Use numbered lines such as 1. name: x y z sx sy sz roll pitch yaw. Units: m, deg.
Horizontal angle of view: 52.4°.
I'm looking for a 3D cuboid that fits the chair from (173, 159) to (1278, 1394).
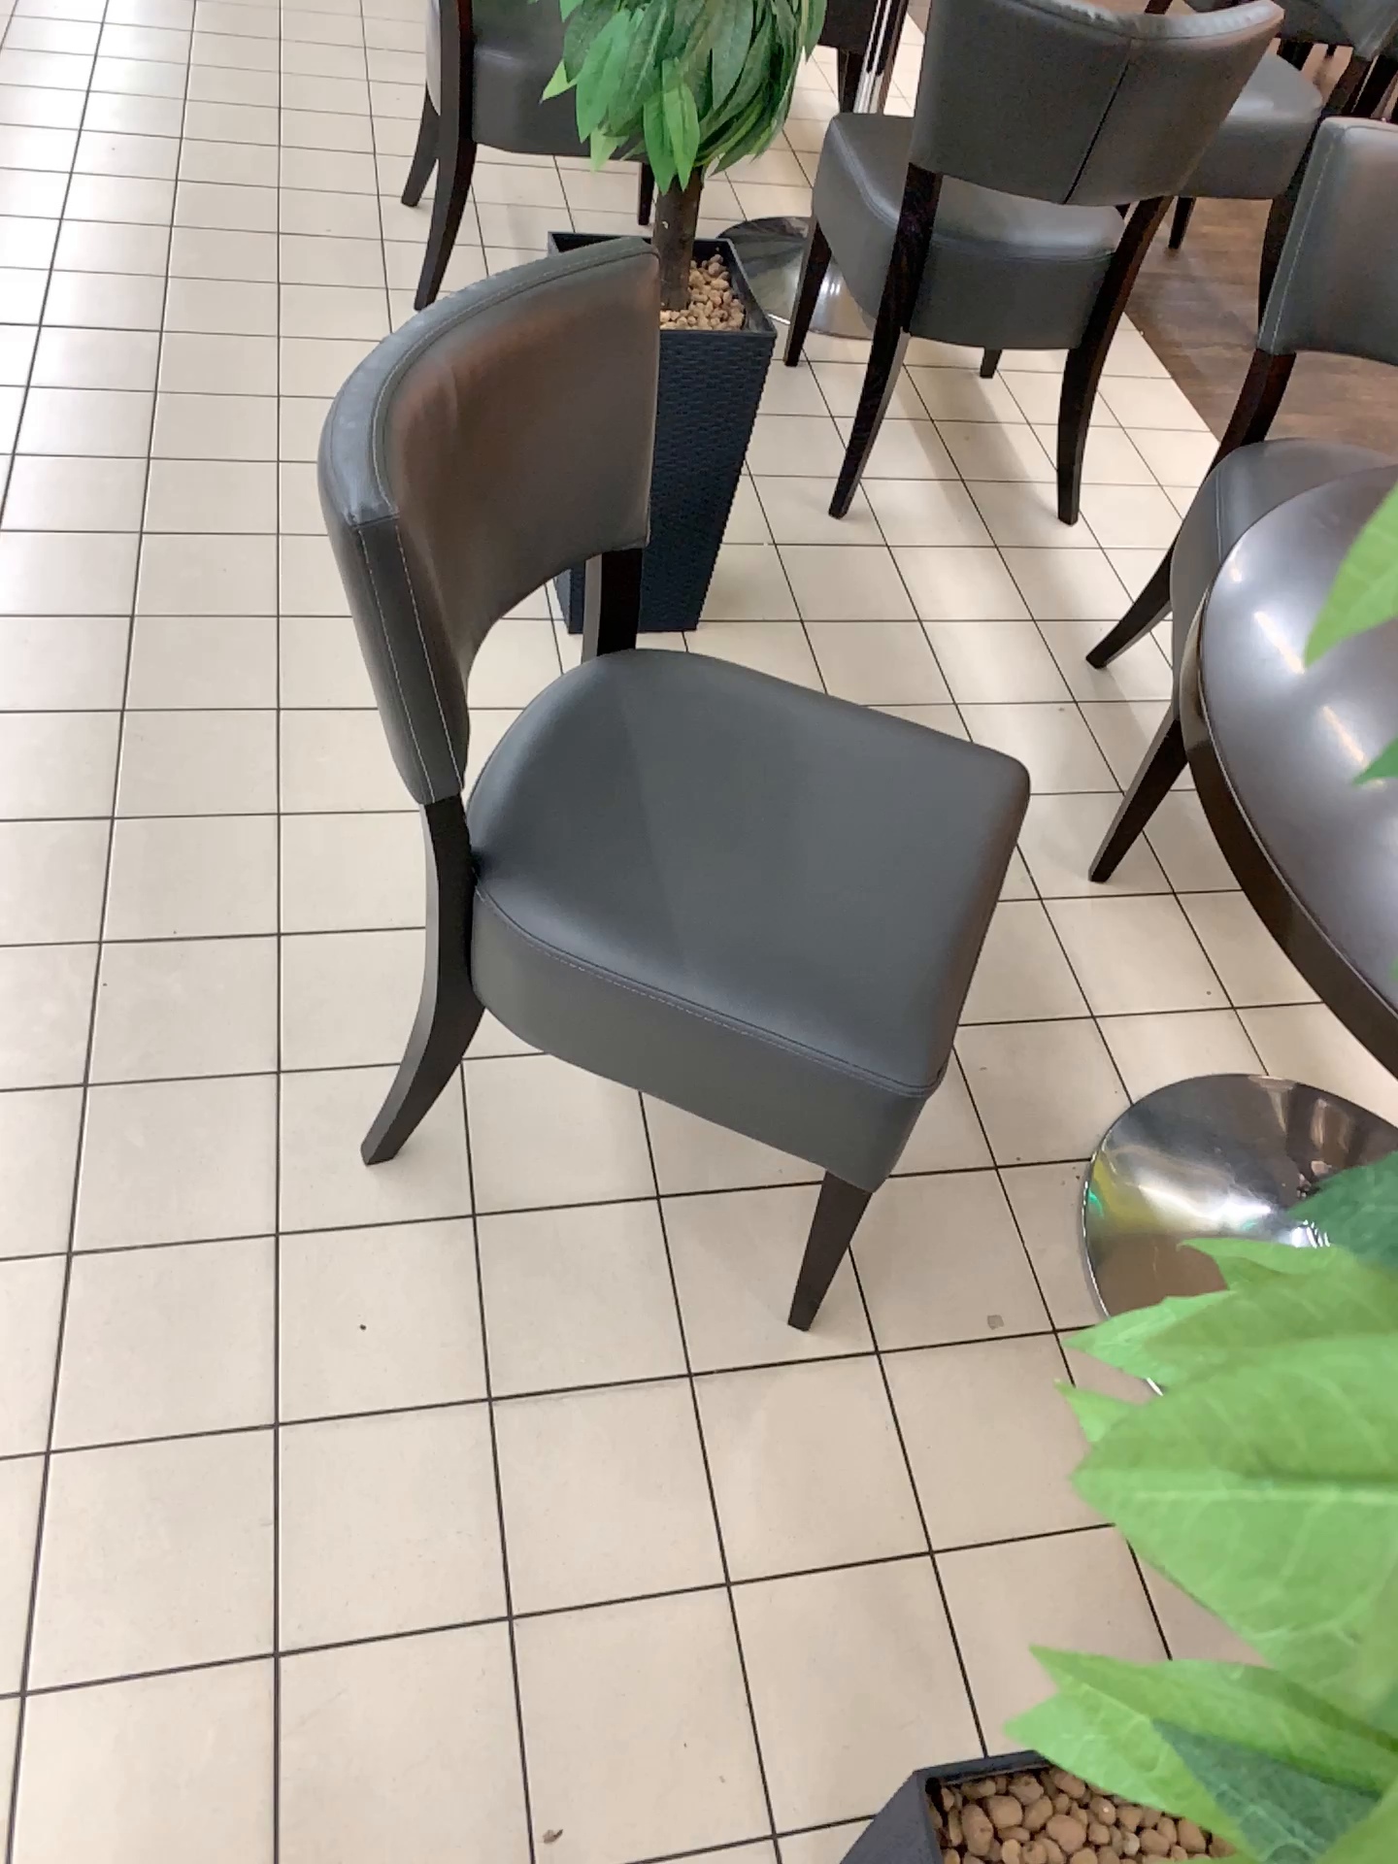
1. chair: 0.012 -0.113 1.311 0.640 0.797 0.552 22 49 9
